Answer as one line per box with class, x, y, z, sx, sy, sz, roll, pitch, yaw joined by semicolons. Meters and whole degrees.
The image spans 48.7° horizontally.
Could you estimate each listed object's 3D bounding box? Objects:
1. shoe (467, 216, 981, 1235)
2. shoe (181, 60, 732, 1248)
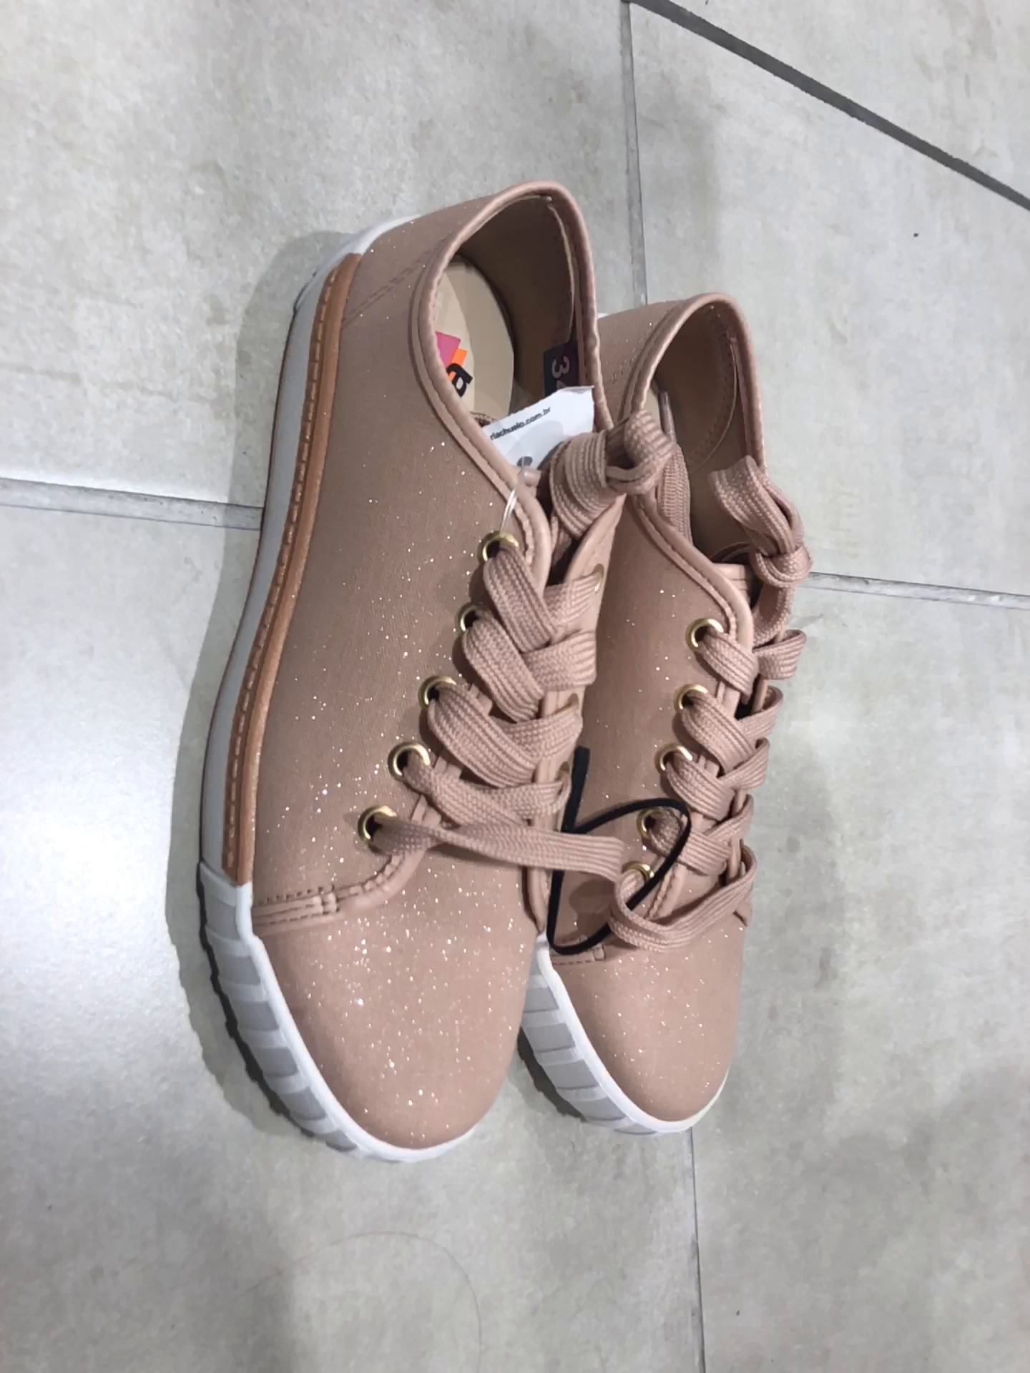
shoe;0.057;0.010;0.335;0.091;0.099;0.240;0;85;-39
shoe;-0.014;-0.006;0.293;0.091;0.099;0.240;8;80;-38
